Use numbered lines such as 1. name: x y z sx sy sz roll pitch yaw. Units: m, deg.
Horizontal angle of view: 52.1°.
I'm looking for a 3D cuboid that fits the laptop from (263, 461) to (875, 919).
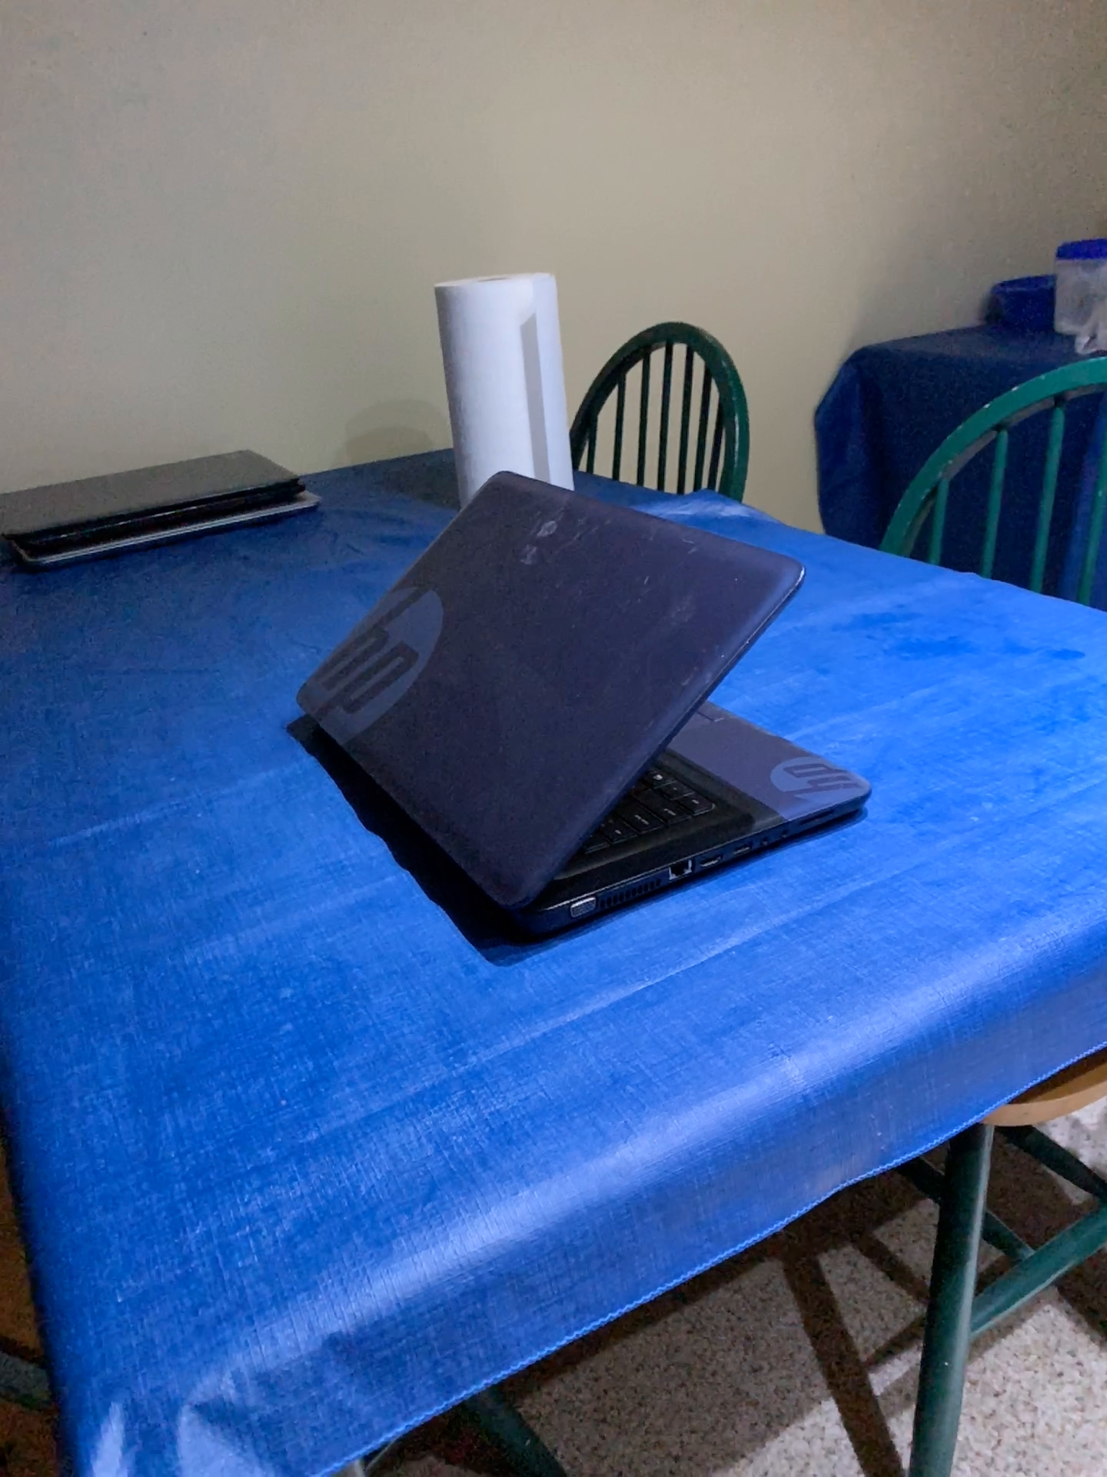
1. laptop: -0.009 -0.067 0.742 0.239 0.141 0.364 -17 28 -25
